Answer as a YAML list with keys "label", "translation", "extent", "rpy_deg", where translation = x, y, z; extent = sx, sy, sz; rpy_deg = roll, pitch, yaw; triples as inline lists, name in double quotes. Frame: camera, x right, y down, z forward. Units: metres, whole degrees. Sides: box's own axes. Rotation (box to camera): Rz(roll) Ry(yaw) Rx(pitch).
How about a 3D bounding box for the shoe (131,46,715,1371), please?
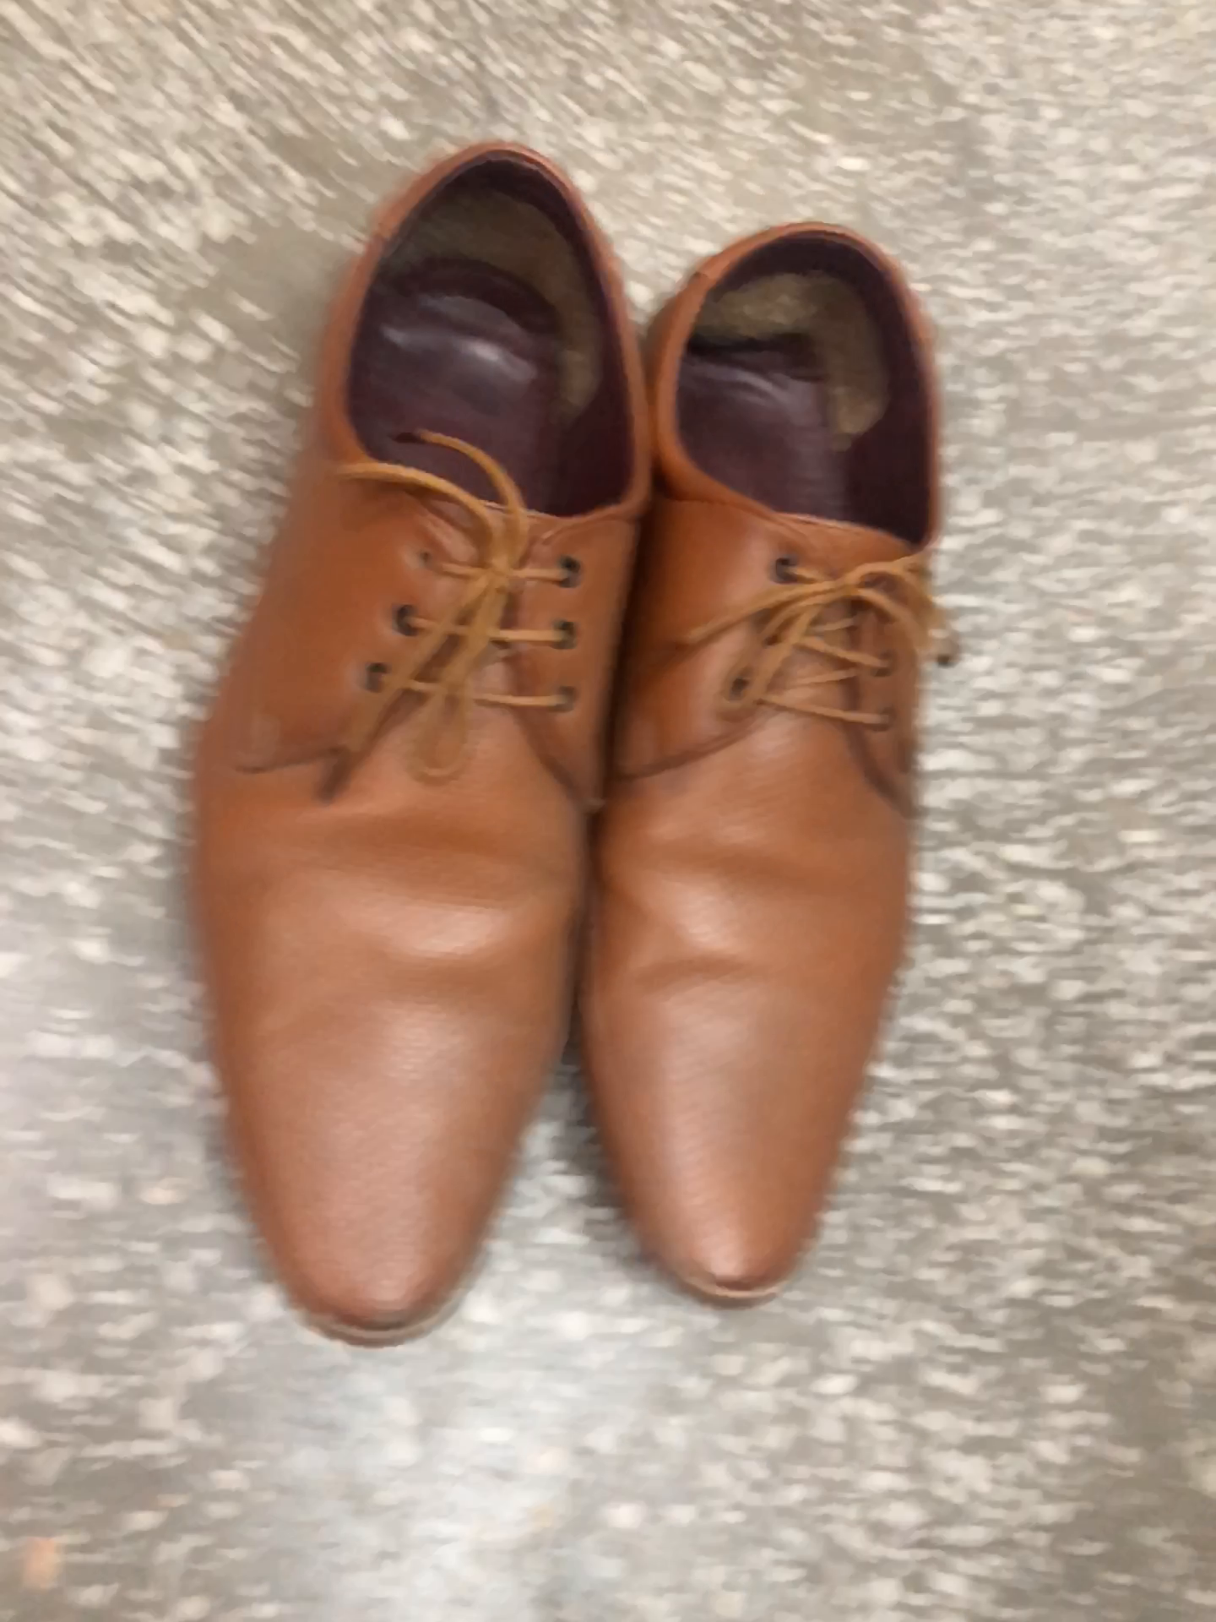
- label: "shoe"
  translation: [-0.045, -0.019, 0.343]
  extent: [0.105, 0.118, 0.284]
  rpy_deg: [7, 73, -16]

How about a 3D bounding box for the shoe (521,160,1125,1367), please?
- label: "shoe"
  translation: [0.049, -0.007, 0.373]
  extent: [0.105, 0.118, 0.284]
  rpy_deg: [7, 73, -16]
